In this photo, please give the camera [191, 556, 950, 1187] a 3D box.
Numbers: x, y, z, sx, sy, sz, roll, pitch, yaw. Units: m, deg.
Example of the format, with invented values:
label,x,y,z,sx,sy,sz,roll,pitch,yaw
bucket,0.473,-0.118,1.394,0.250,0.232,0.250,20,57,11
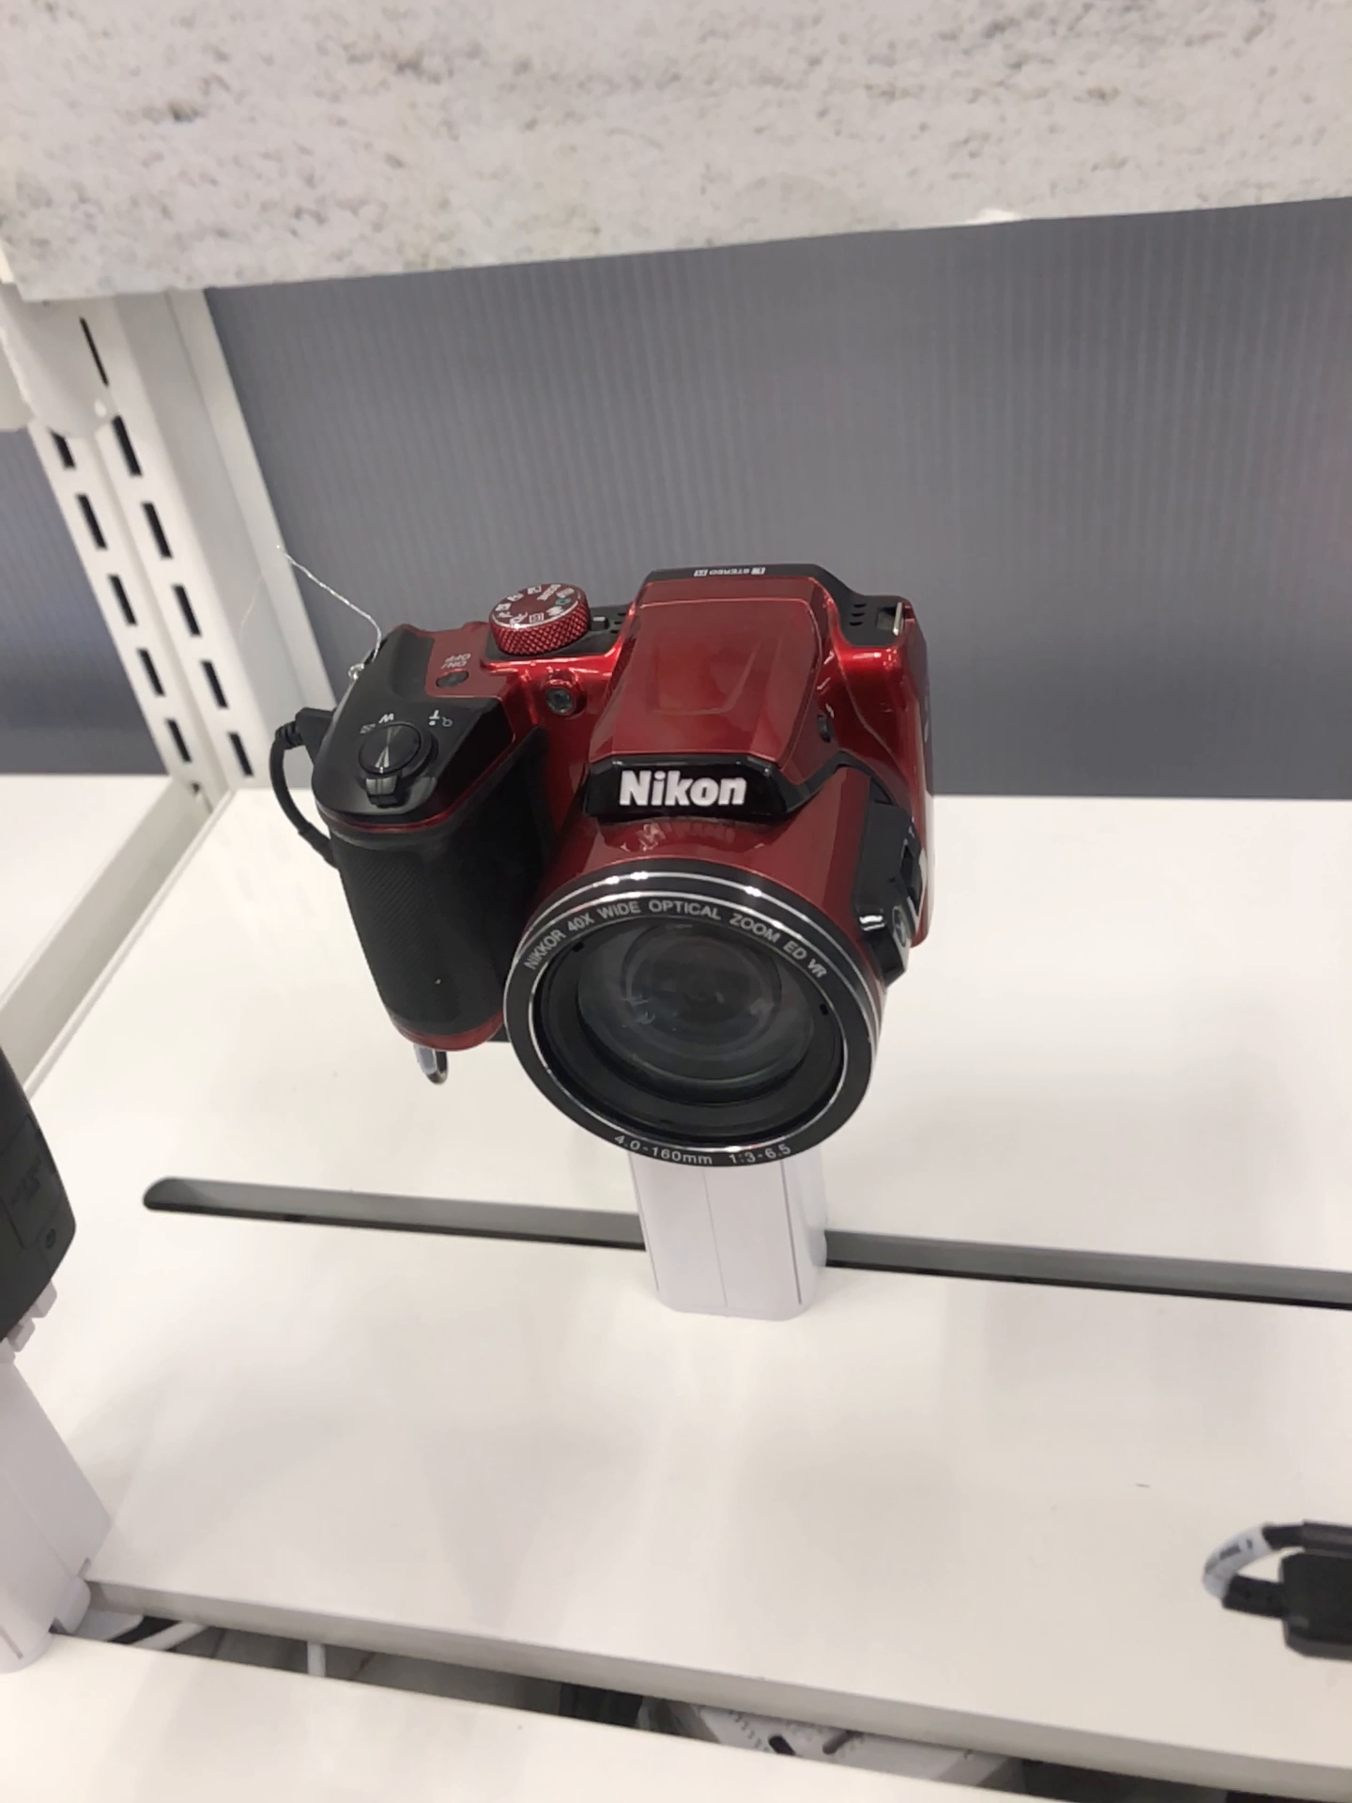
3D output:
label,x,y,z,sx,sy,sz,roll,pitch,yaw
camera,-0.009,-0.009,0.274,0.110,0.073,0.084,2,39,14
